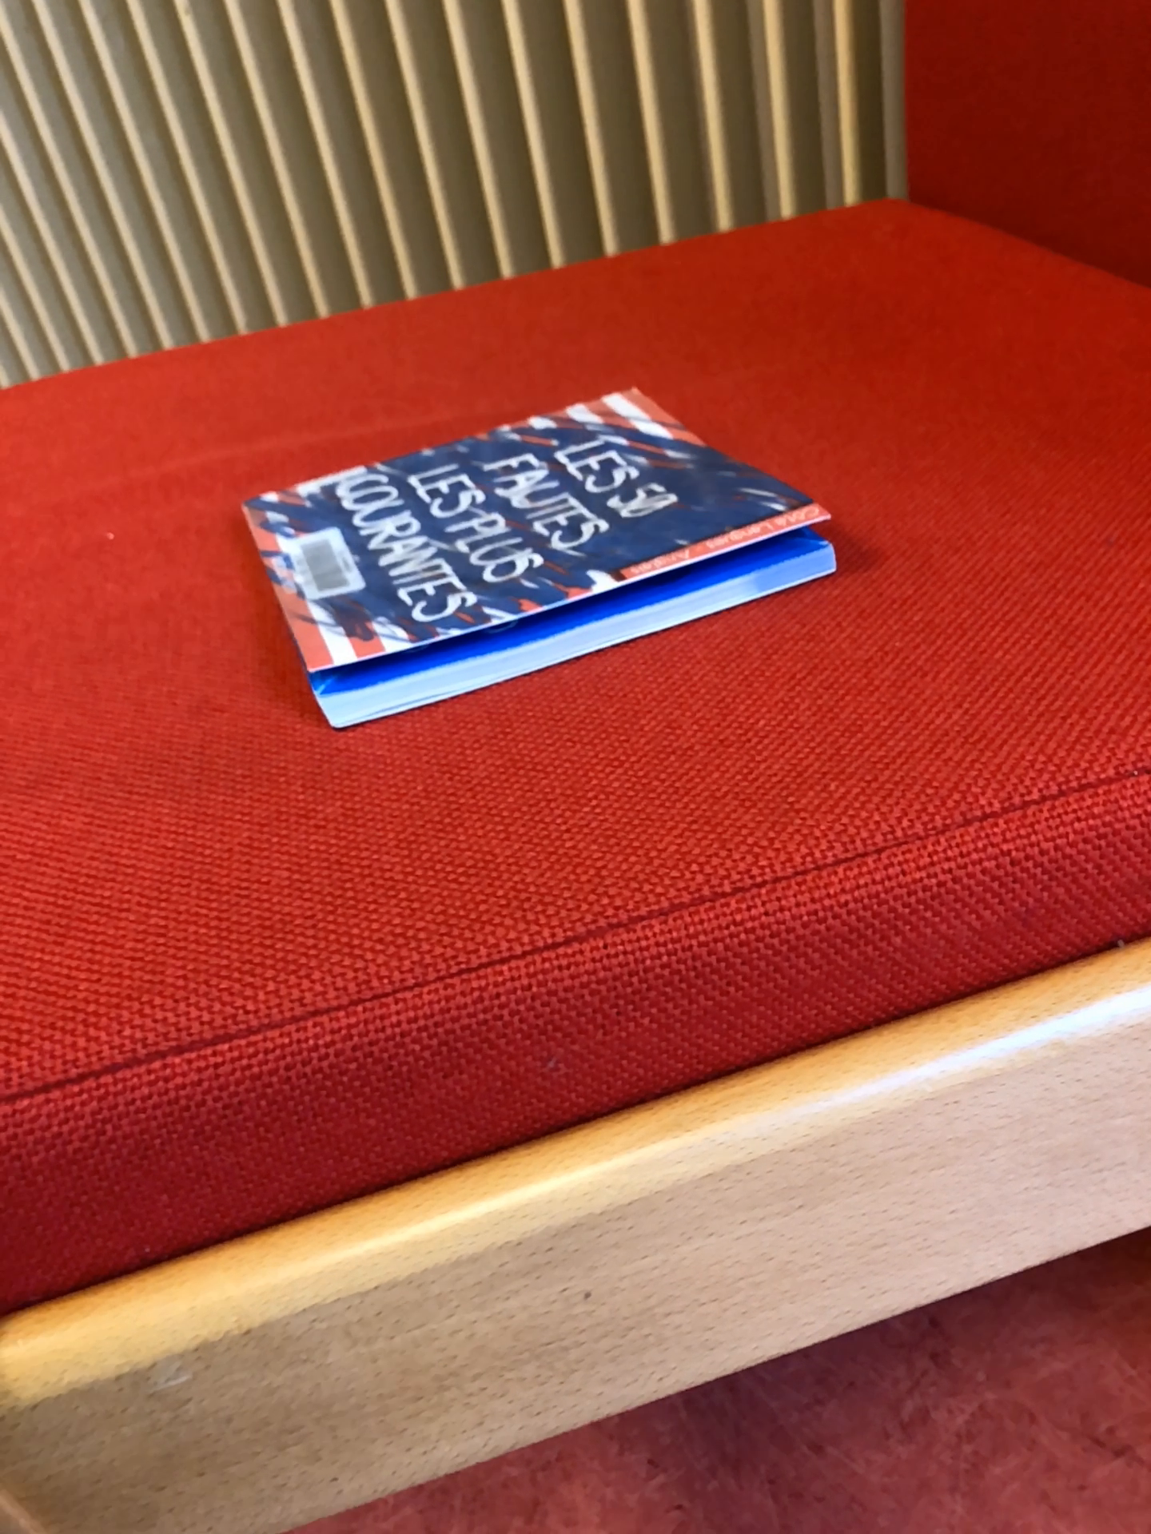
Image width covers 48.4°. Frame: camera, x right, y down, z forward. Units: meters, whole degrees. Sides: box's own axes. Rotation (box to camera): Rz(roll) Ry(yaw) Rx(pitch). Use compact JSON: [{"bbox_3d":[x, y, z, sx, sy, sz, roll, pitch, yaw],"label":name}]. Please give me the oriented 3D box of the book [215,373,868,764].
[{"bbox_3d":[-0.019,-0.068,0.371,0.148,0.020,0.149,-17,36,-12],"label":"book"}]
